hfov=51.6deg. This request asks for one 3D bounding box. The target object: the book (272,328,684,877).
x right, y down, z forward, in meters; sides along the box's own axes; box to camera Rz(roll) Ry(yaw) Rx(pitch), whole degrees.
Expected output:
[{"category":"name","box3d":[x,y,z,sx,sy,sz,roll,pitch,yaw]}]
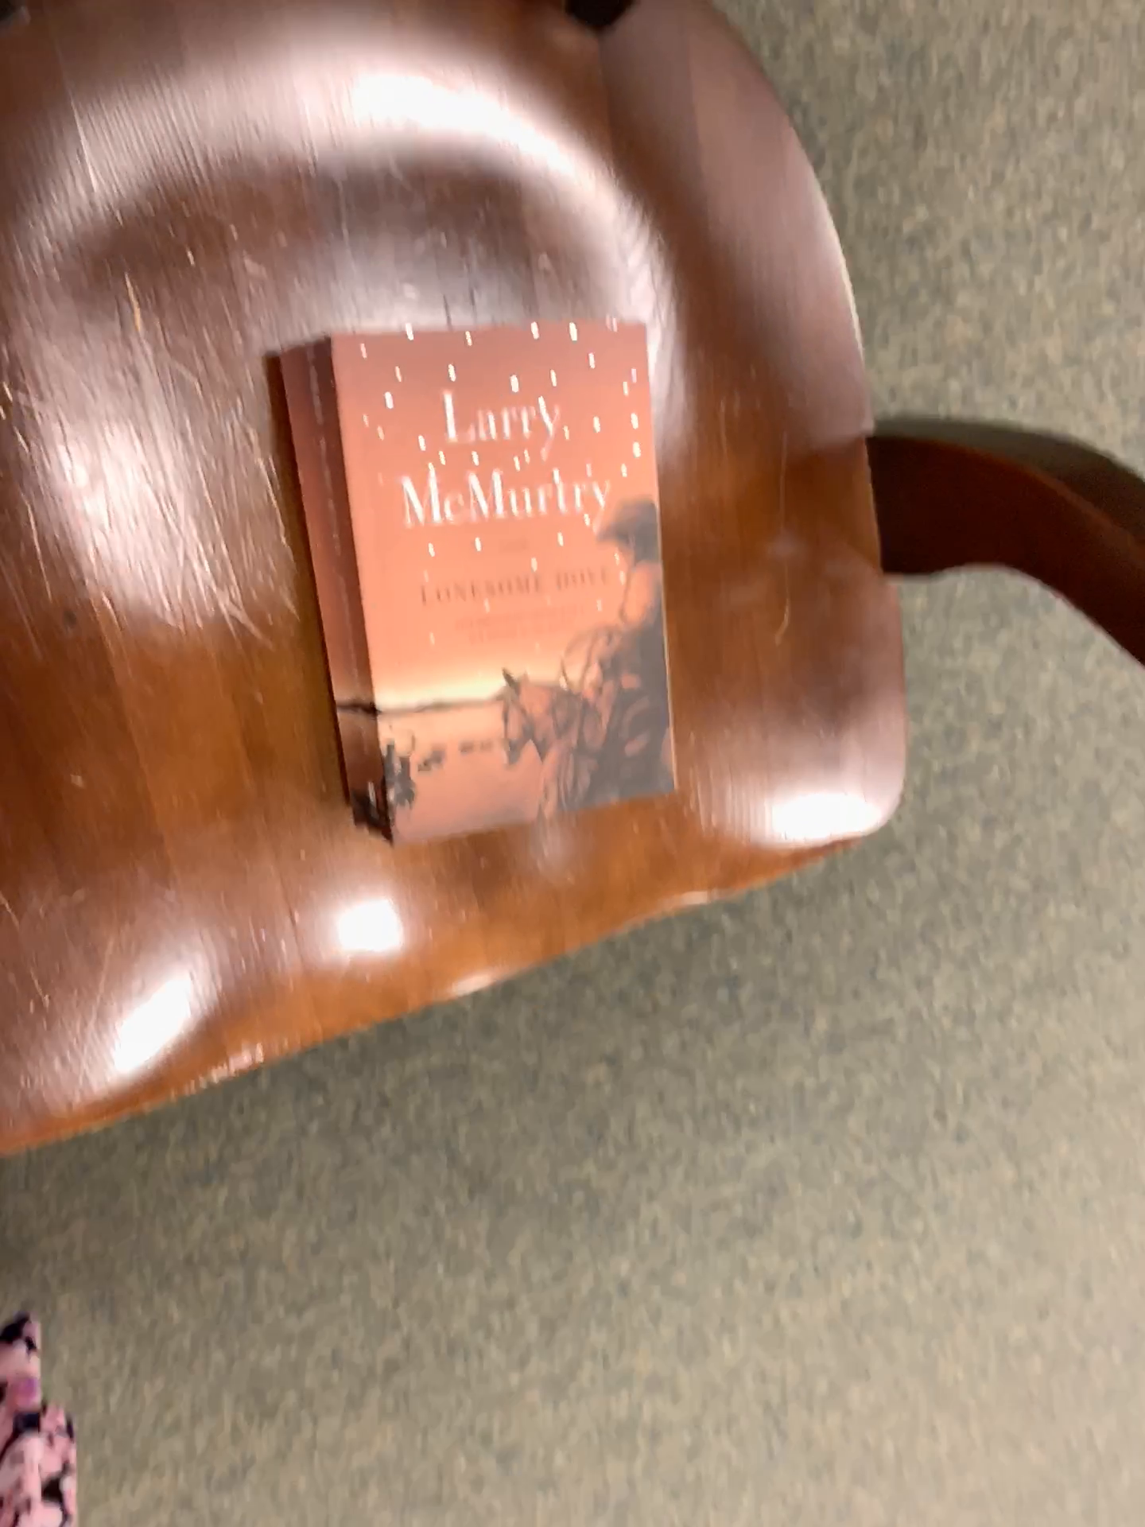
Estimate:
[{"category":"book","box3d":[-0.035,-0.070,0.497,0.140,0.060,0.201,-11,106,-21]}]
